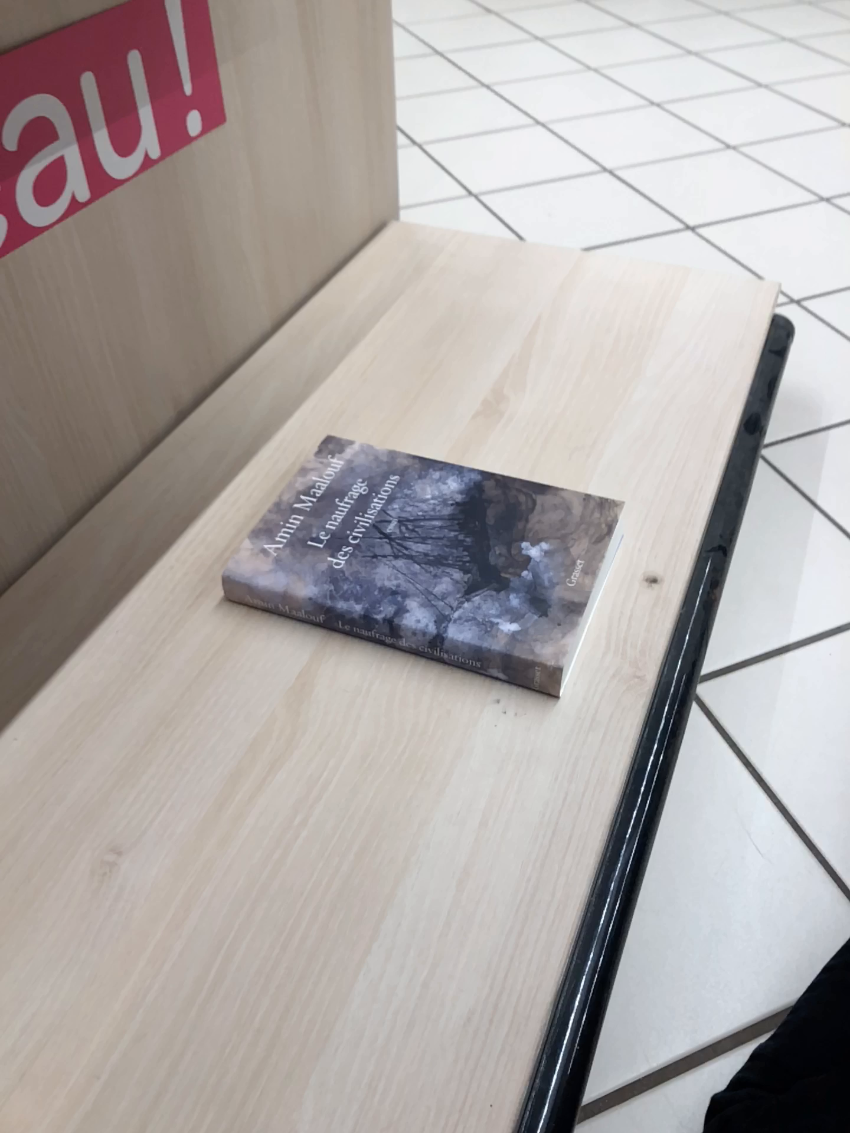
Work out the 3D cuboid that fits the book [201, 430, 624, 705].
[{"bbox_3d":[-0.002,-0.010,0.565,0.211,0.026,0.148,15,45,16],"label":"book"}]
